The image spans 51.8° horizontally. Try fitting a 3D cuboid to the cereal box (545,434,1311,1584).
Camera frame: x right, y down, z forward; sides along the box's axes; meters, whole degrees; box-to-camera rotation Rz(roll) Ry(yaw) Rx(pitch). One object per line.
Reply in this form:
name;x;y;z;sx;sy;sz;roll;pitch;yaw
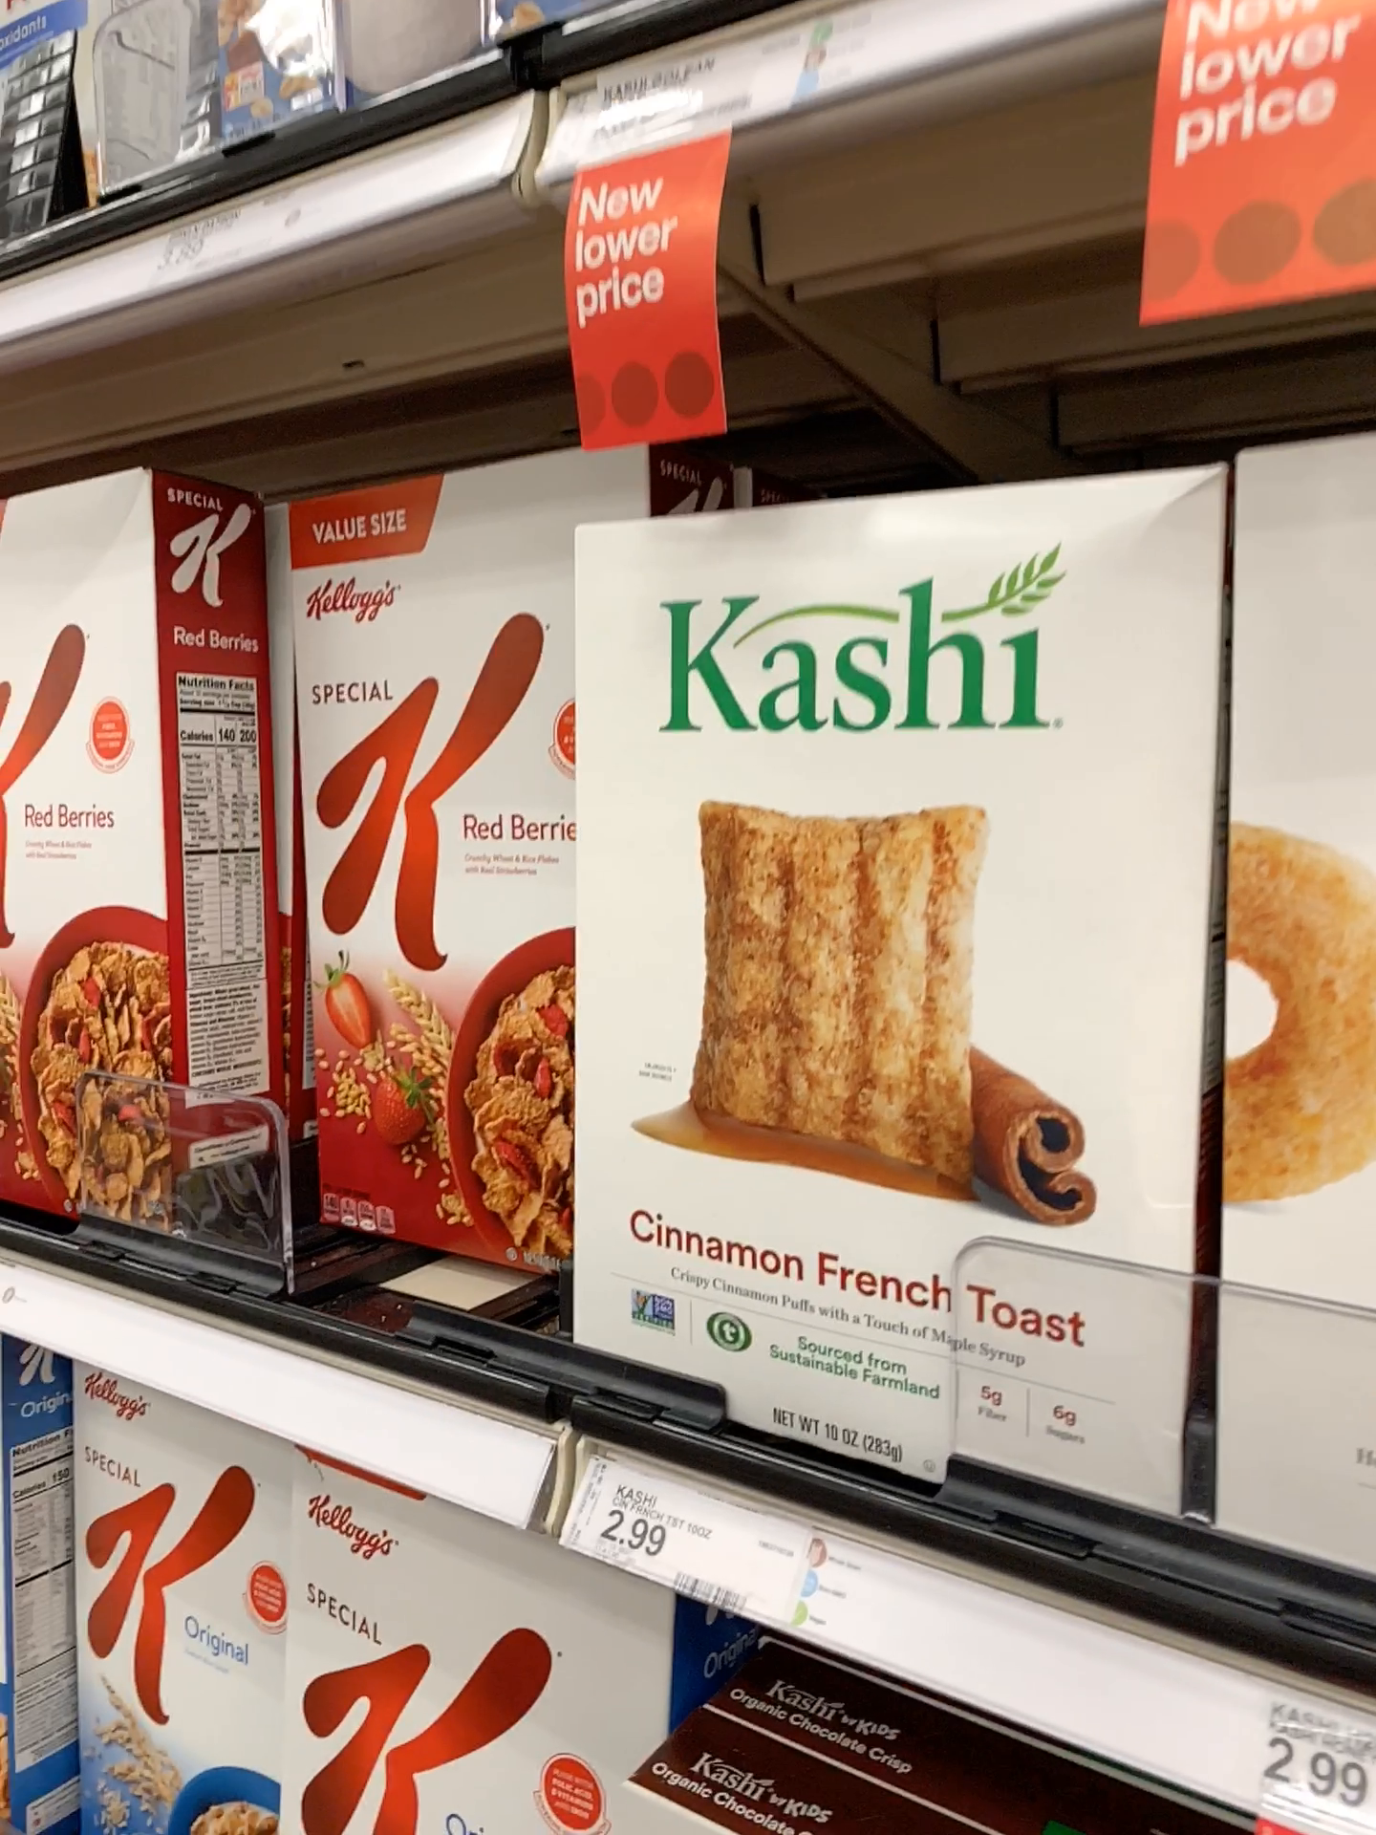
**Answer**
cereal box;0.058;0.017;0.414;0.210;0.270;0.060;4;6;35
